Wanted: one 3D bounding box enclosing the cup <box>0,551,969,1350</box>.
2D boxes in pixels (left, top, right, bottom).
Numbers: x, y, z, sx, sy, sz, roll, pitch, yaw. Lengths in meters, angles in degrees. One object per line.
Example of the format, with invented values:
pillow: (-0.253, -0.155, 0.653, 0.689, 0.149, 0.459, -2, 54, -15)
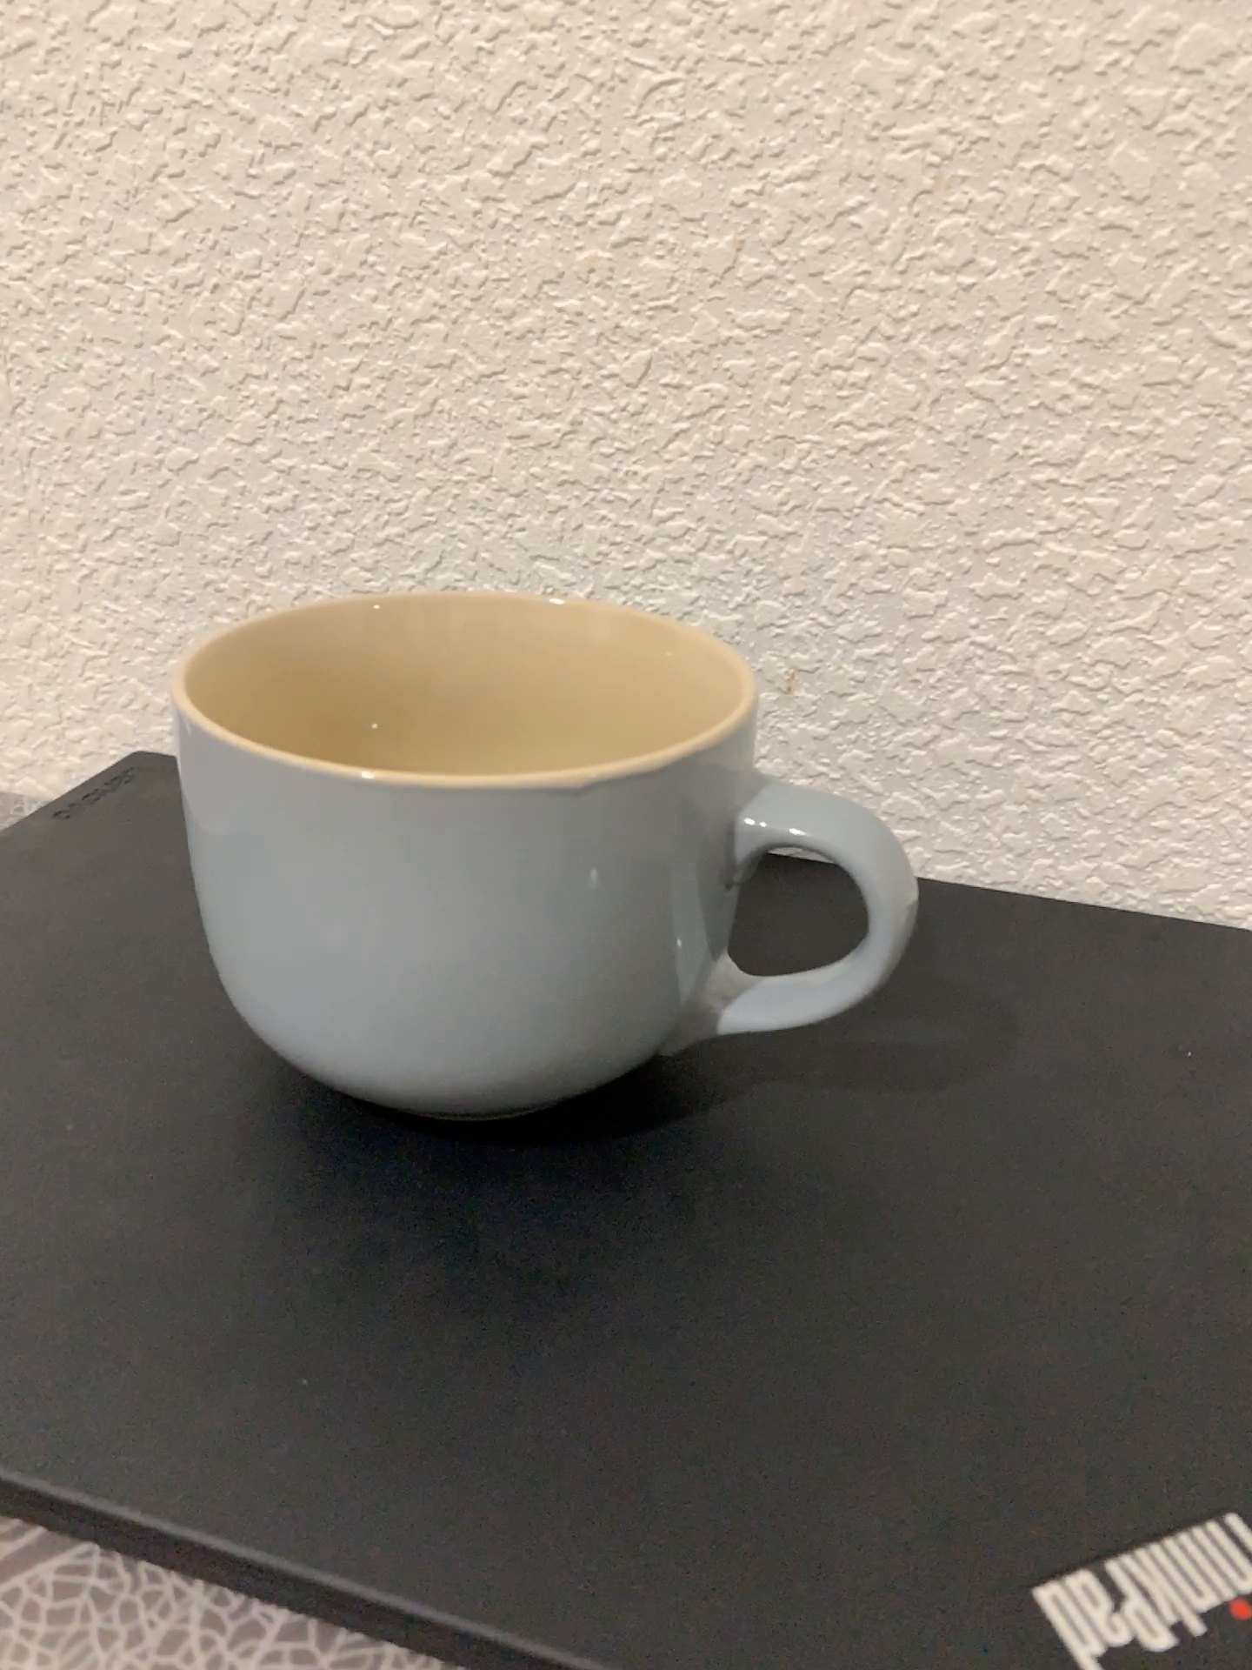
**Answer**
cup: (-0.018, 0.005, 0.243, 0.133, 0.079, 0.111, 12, 27, 20)
